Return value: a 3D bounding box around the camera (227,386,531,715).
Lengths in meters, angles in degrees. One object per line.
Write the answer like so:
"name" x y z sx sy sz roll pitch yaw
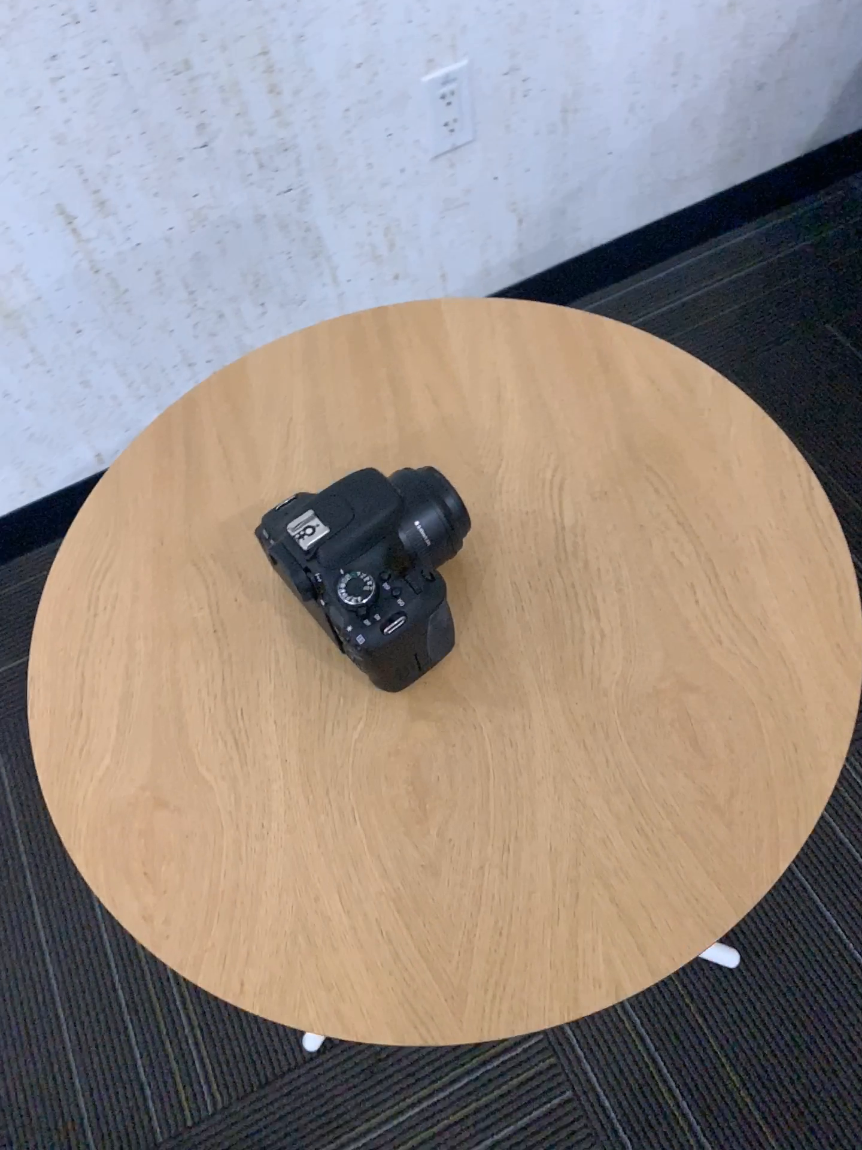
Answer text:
"camera" -0.028 -0.016 0.545 0.120 0.100 0.130 -36 61 -13
